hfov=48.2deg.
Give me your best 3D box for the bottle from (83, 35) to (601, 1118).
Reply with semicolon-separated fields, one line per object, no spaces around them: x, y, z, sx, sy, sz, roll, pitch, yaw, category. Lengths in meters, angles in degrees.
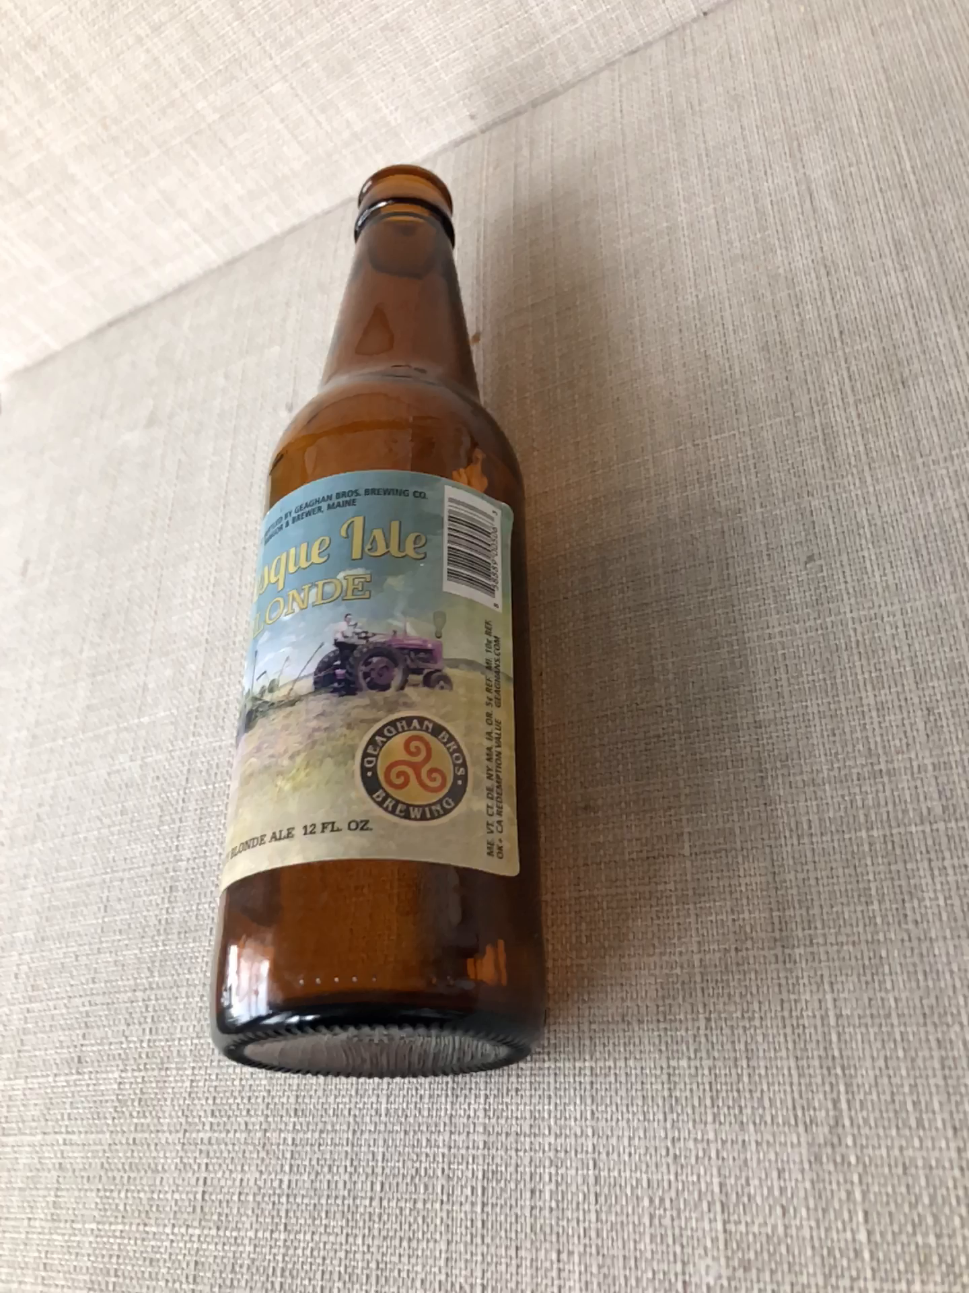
-0.025;-0.025;0.242;0.066;0.060;0.231;-24;53;35;bottle
